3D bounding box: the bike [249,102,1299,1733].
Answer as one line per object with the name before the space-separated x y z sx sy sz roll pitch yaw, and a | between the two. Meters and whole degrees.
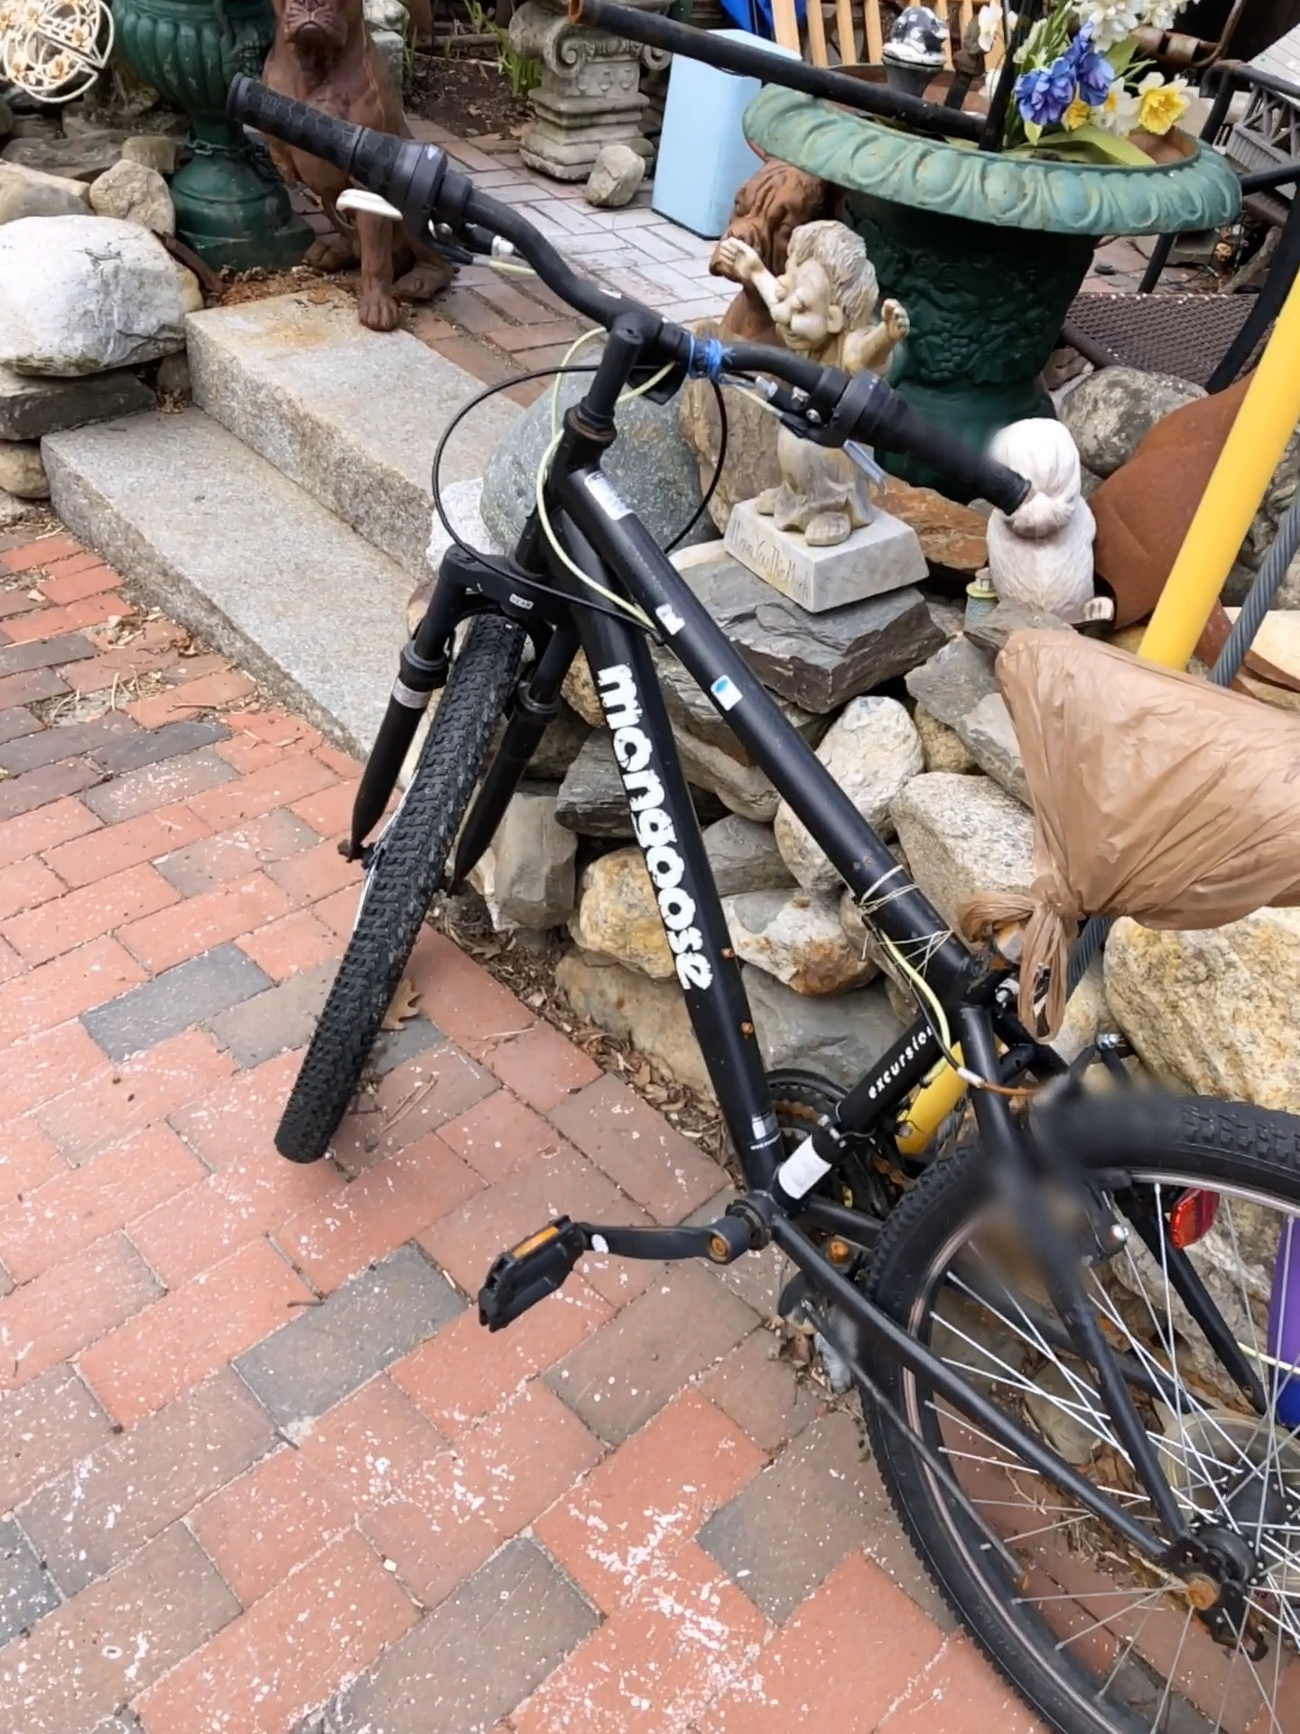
bike | 0.259 0.055 1.159 0.634 0.873 1.413 -21 49 -32
